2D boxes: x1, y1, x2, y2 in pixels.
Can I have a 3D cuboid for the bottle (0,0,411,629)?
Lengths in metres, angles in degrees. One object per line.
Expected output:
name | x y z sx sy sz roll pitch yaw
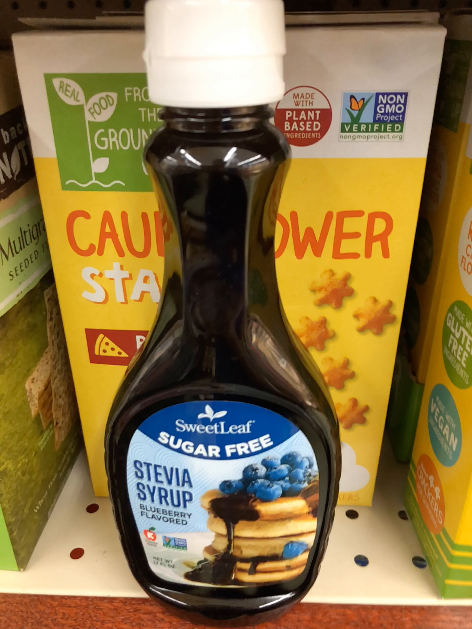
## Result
bottle | -0.007 0.018 0.167 0.080 0.199 0.050 3 29 5
